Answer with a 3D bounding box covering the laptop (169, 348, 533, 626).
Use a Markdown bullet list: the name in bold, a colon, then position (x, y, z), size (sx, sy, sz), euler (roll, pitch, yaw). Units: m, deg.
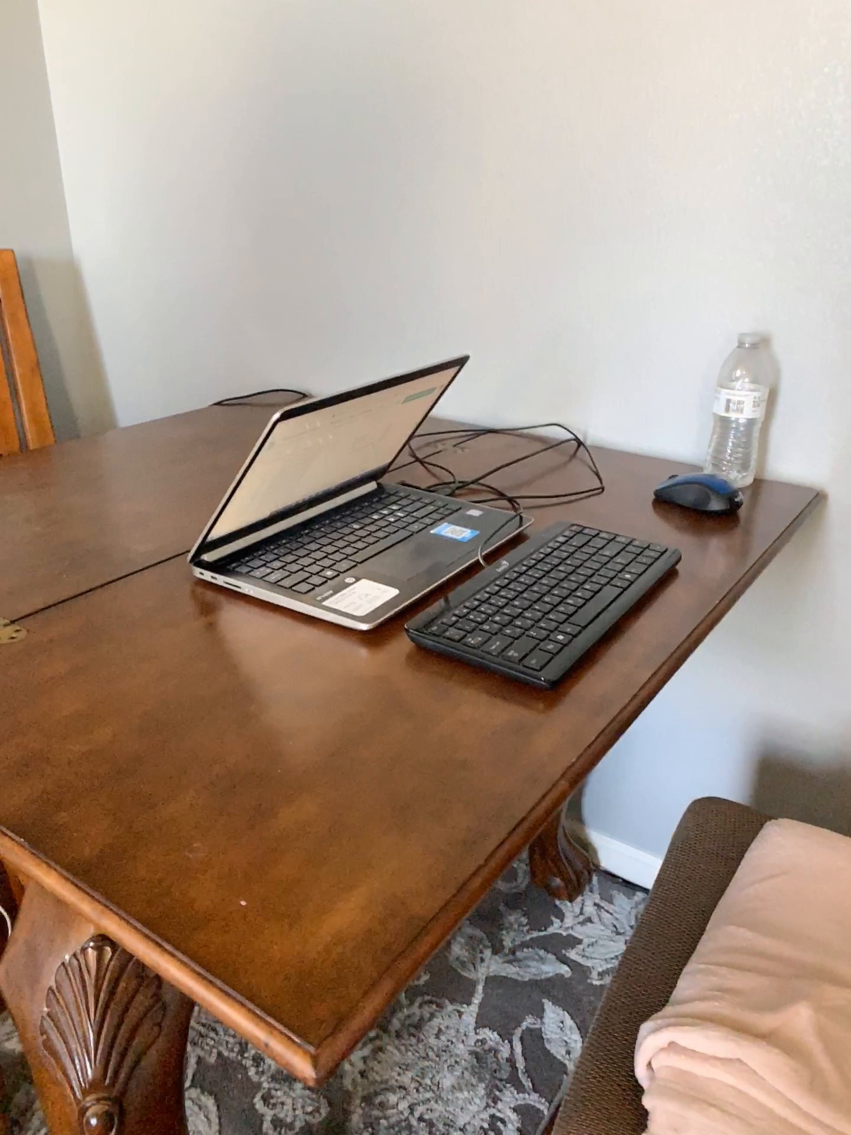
- **laptop**: position (-0.057, -0.101, 0.854), size (0.199, 0.157, 0.304), euler (17, 28, 30)
